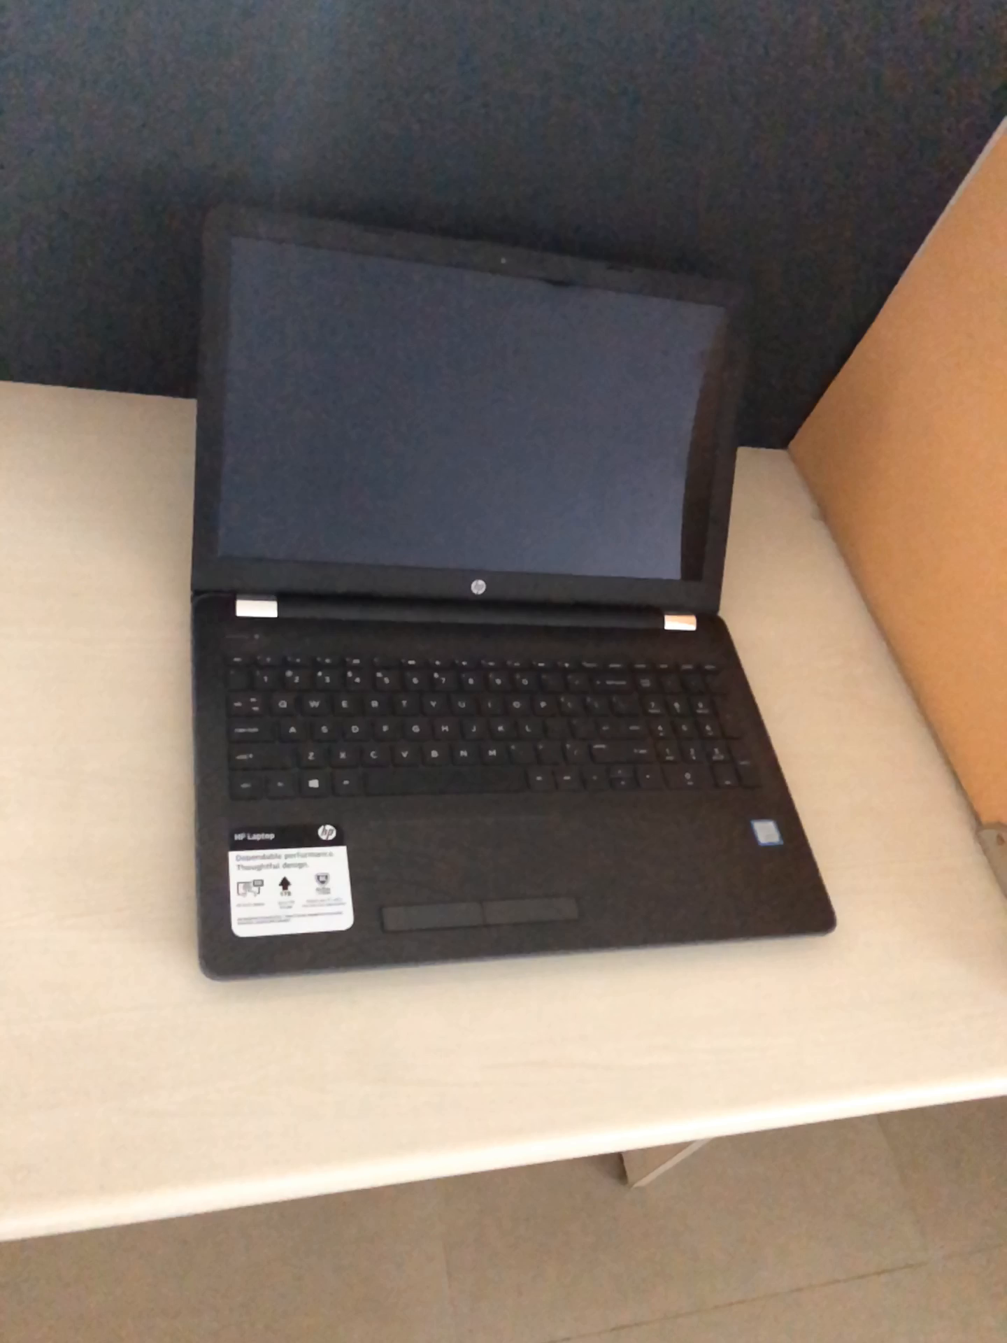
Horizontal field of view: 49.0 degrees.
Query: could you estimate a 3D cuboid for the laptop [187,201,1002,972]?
[{"bbox_3d":[0.013,-0.062,0.675,0.378,0.173,0.409,1,53,-20],"label":"laptop"}]
